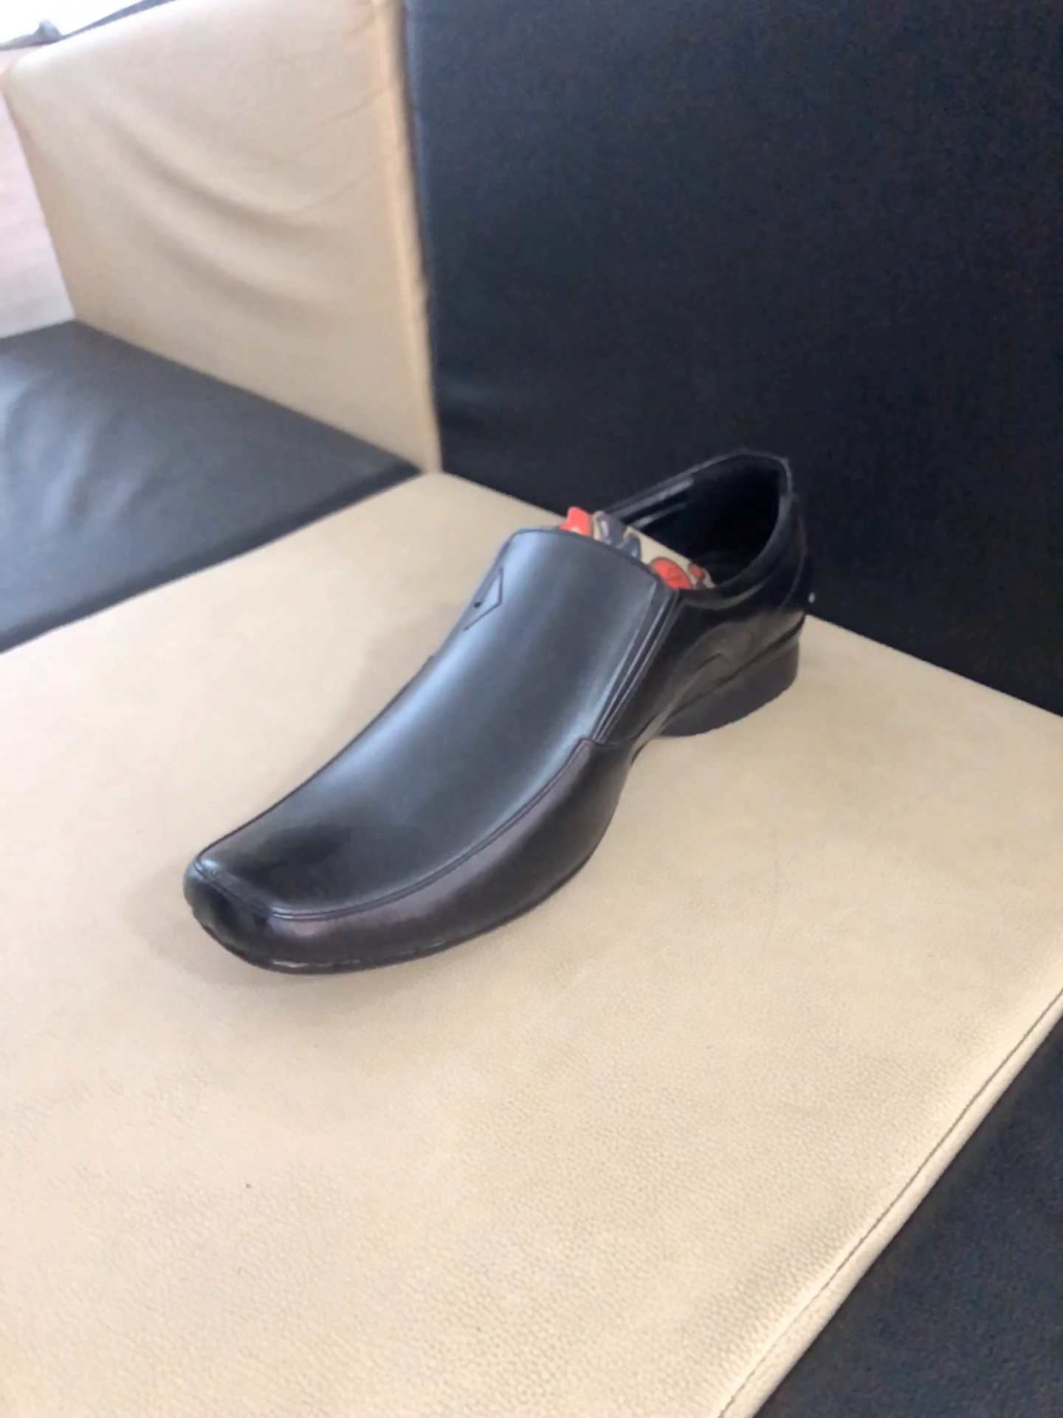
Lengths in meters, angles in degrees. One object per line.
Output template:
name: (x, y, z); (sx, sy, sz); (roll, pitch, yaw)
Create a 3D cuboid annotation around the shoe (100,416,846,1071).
shoe: (0.001, -0.011, 0.433); (0.090, 0.090, 0.281); (24, 44, 34)
